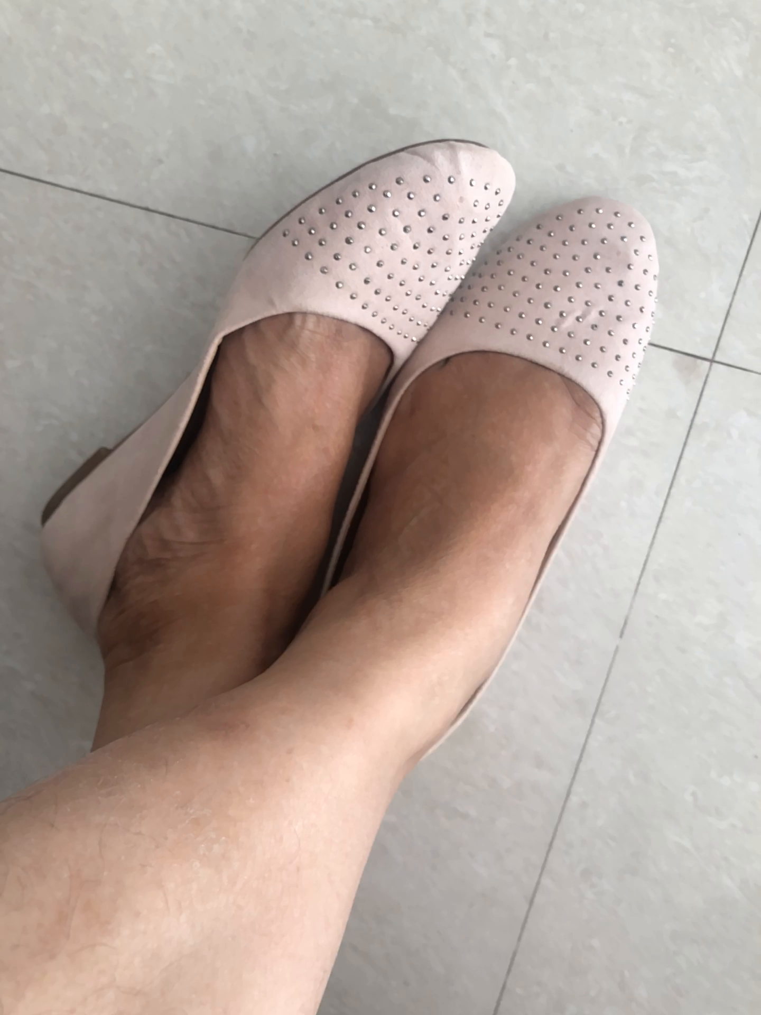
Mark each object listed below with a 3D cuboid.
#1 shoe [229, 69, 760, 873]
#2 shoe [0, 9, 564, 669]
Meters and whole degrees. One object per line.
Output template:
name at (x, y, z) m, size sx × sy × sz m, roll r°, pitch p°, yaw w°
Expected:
shoe at (0.041, -0.010, 0.343) m, size 0.100 × 0.080 × 0.270 m, roll 22°, pitch 99°, yaw 4°
shoe at (-0.048, -0.049, 0.330) m, size 0.240 × 0.090 × 0.060 m, roll -50°, pitch 51°, yaw 13°
